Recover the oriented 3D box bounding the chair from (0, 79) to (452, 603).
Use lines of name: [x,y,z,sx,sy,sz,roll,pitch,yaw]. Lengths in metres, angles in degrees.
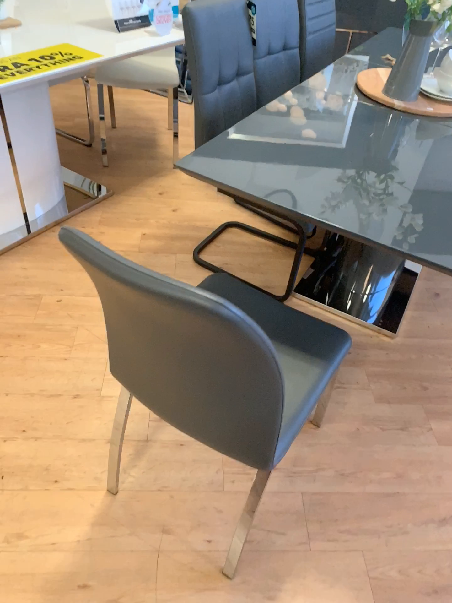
chair: [0.014,0.109,1.051,0.511,0.911,0.634,26,46,20]
